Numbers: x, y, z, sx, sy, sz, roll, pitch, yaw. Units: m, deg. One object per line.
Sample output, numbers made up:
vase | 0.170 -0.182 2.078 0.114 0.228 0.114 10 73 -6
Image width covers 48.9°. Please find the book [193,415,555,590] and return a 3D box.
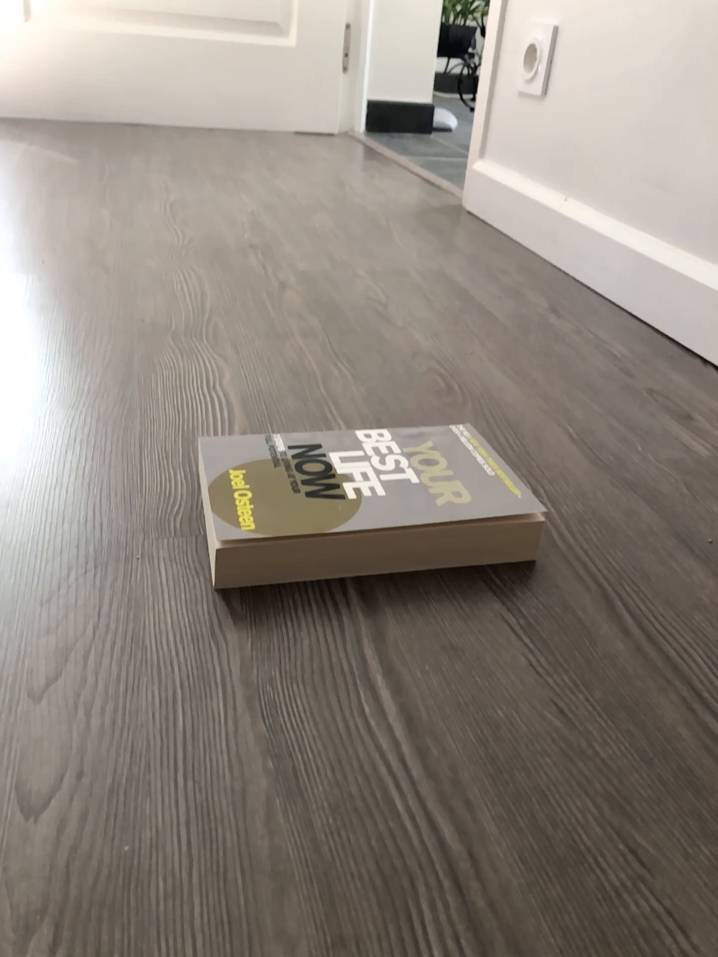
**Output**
book | 0.001 0.007 0.504 0.201 0.030 0.137 -3 32 -14
